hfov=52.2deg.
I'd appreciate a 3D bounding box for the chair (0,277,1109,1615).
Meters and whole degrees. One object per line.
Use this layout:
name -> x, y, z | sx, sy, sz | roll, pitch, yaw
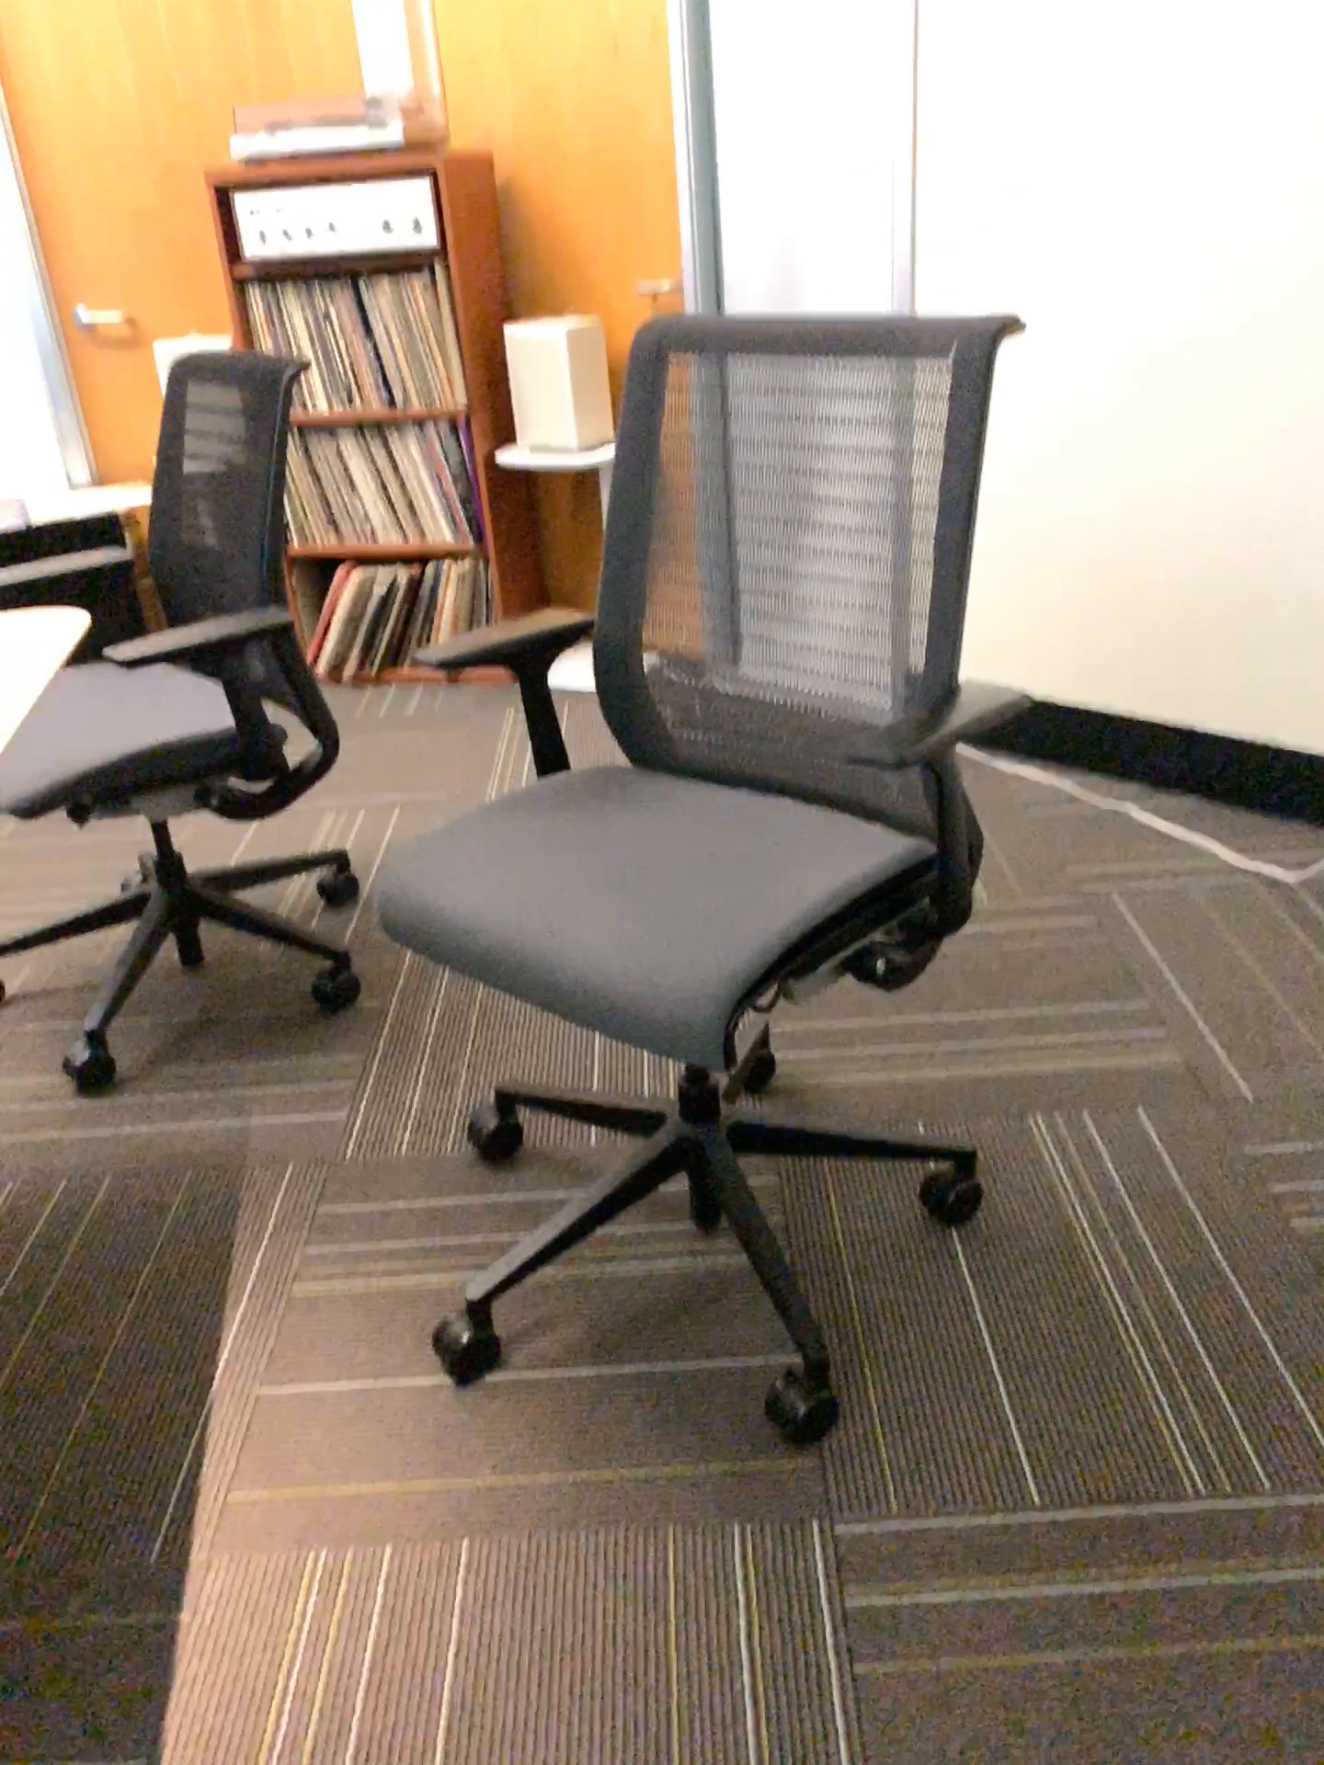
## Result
chair -> -0.064, -0.039, 1.555 | 0.793, 1.113, 0.802 | 15, 33, 34
